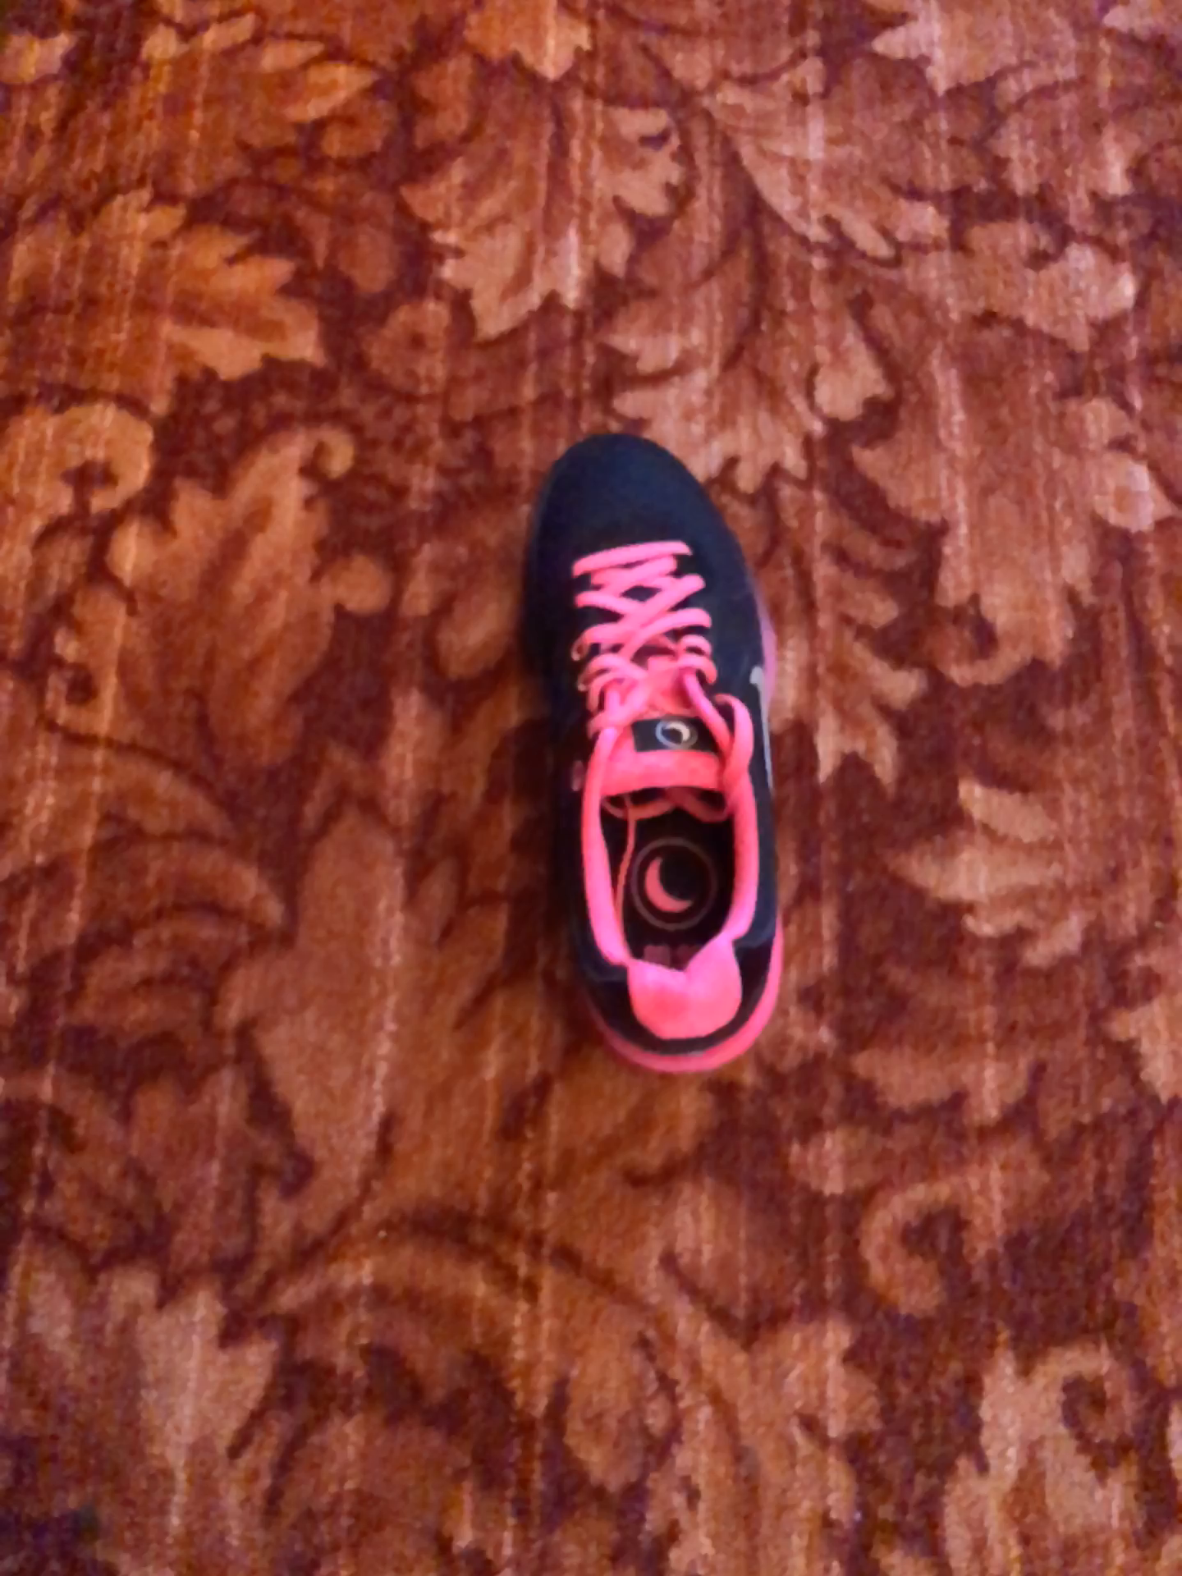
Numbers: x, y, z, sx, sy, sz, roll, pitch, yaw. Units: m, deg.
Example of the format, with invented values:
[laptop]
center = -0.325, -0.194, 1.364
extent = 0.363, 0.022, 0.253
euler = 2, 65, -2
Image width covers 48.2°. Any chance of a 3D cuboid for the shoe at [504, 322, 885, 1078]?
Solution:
[shoe]
center = 0.031, -0.026, 0.474
extent = 0.100, 0.110, 0.240
euler = -5, 73, 2
